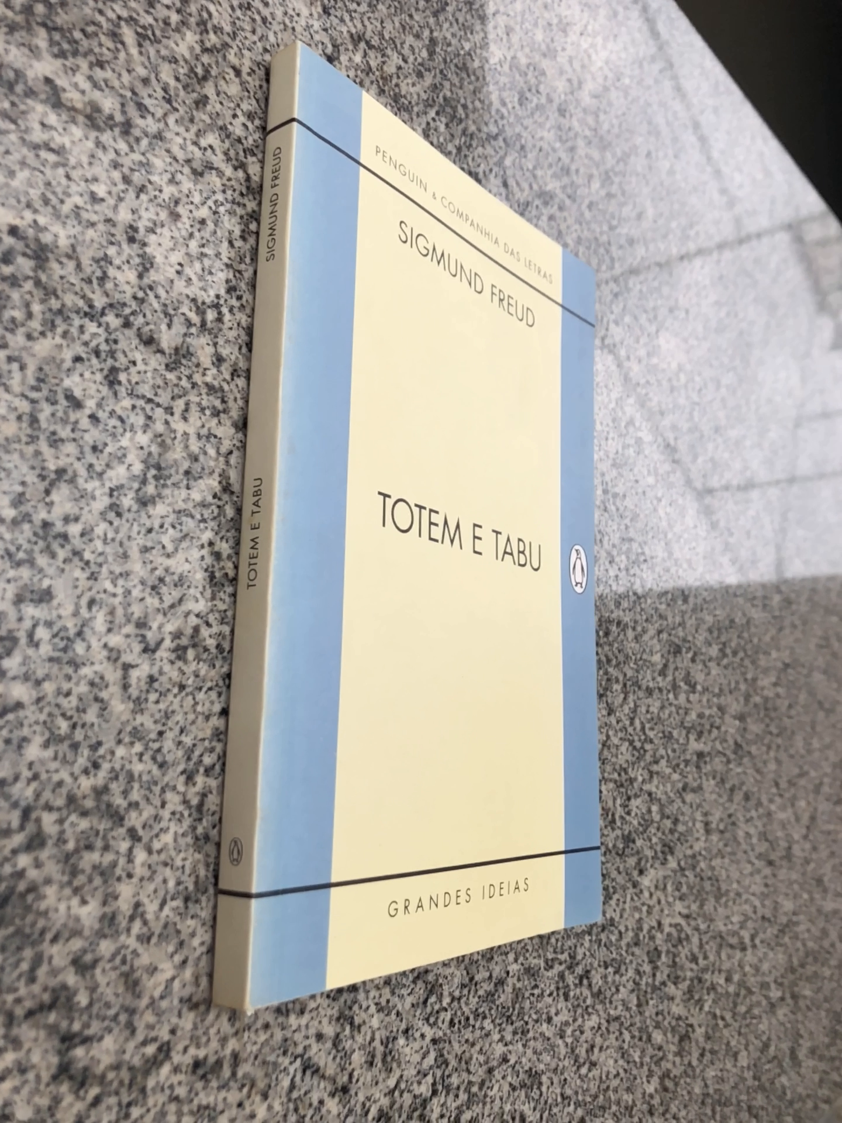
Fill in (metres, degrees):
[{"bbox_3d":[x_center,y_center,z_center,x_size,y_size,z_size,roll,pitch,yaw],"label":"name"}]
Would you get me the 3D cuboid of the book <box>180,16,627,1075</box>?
[{"bbox_3d":[0.009,-0.002,0.220,0.131,0.015,0.191,16,71,-50],"label":"book"}]
